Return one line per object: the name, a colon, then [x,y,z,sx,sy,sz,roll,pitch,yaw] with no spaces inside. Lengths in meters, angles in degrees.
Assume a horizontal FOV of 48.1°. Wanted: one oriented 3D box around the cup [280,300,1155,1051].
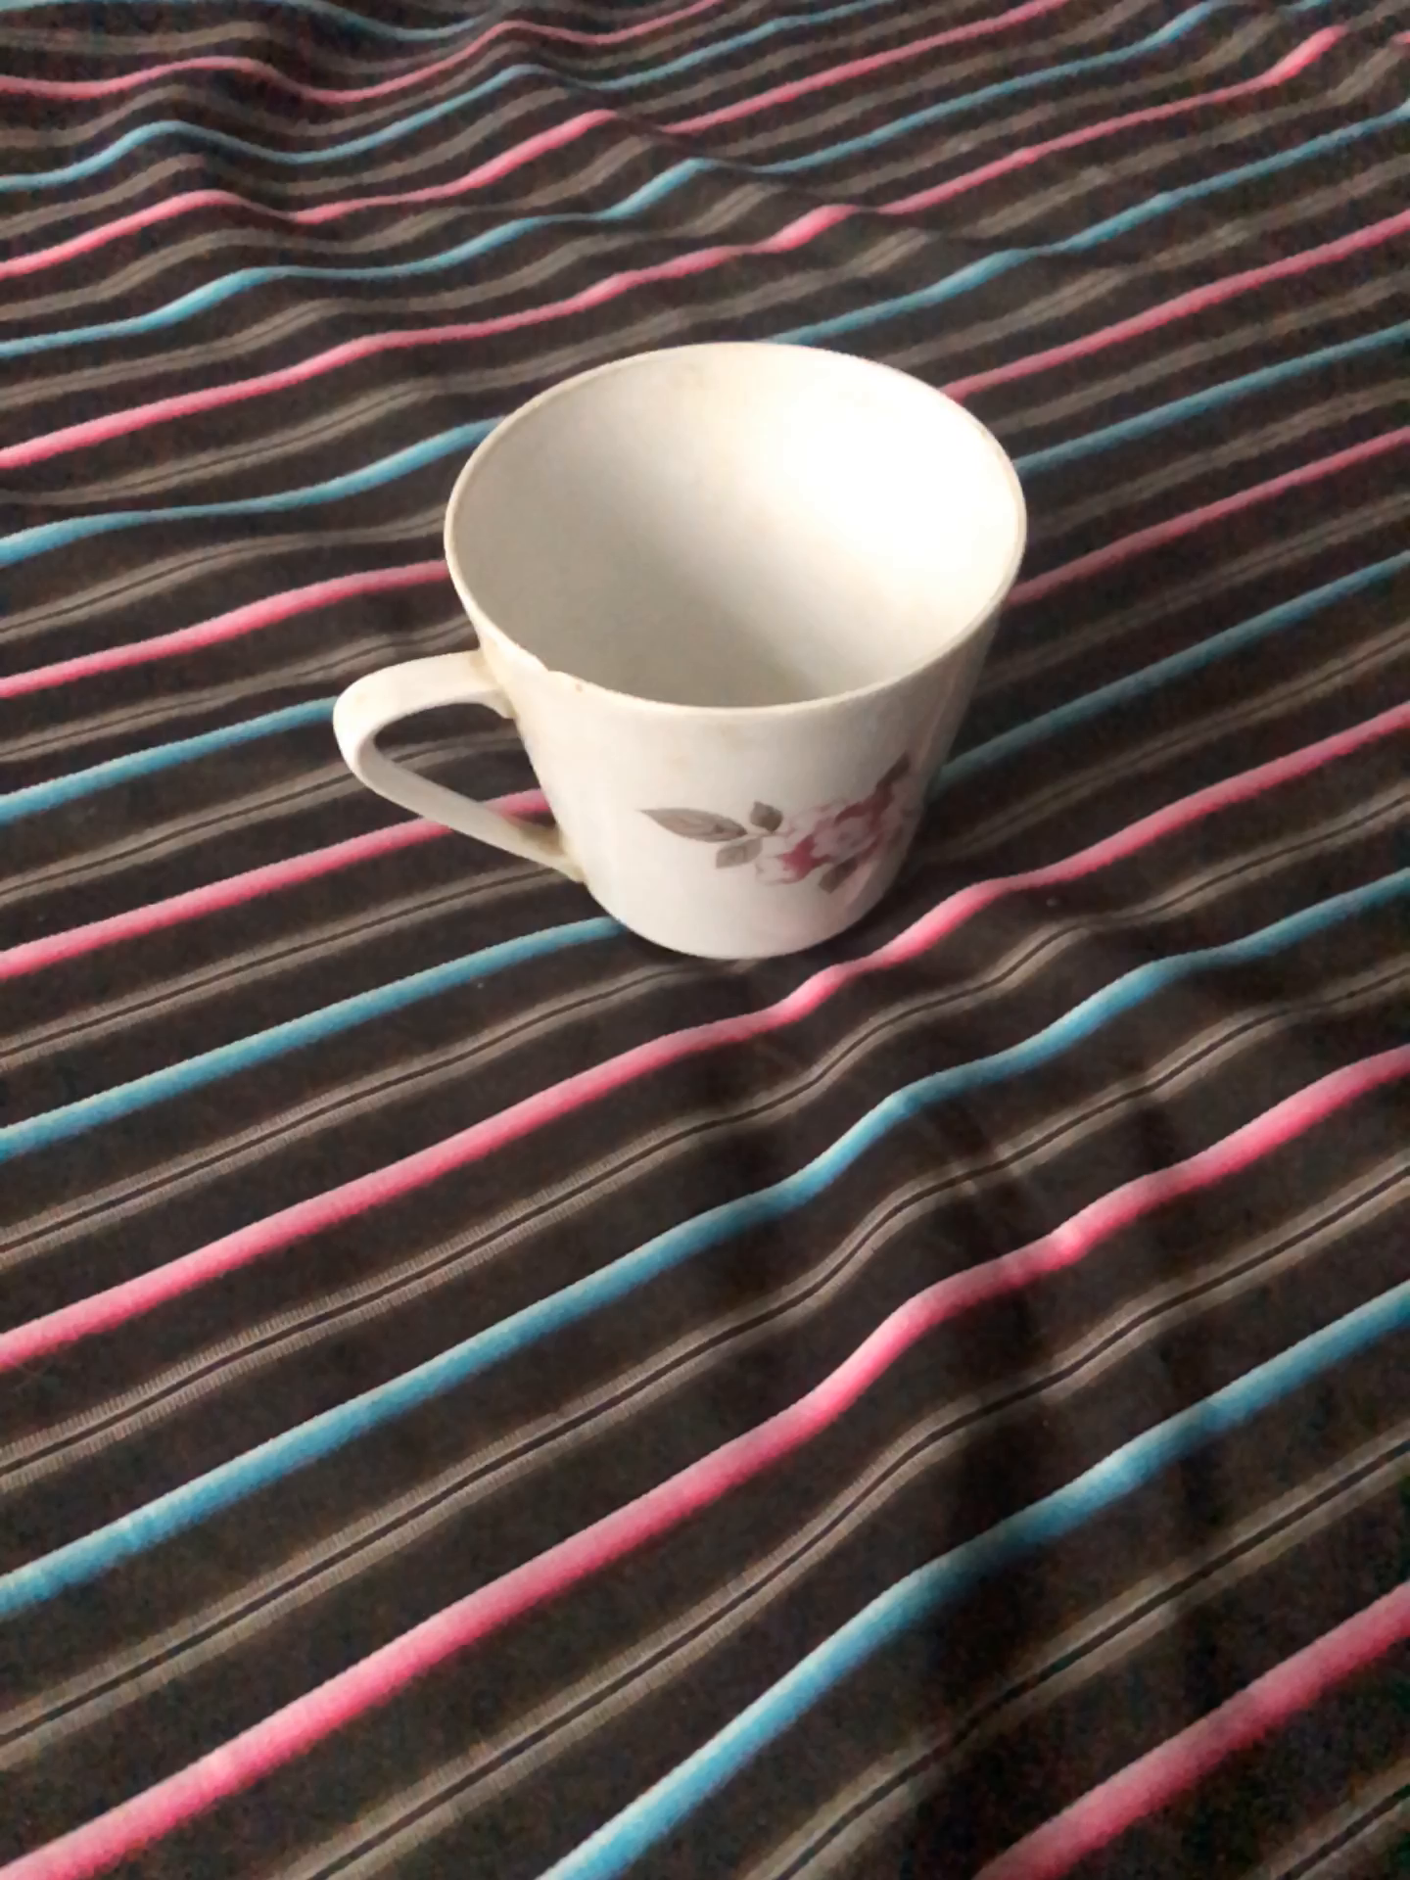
cup: [-0.002,-0.039,0.220,0.094,0.049,0.074,-13,56,-9]
